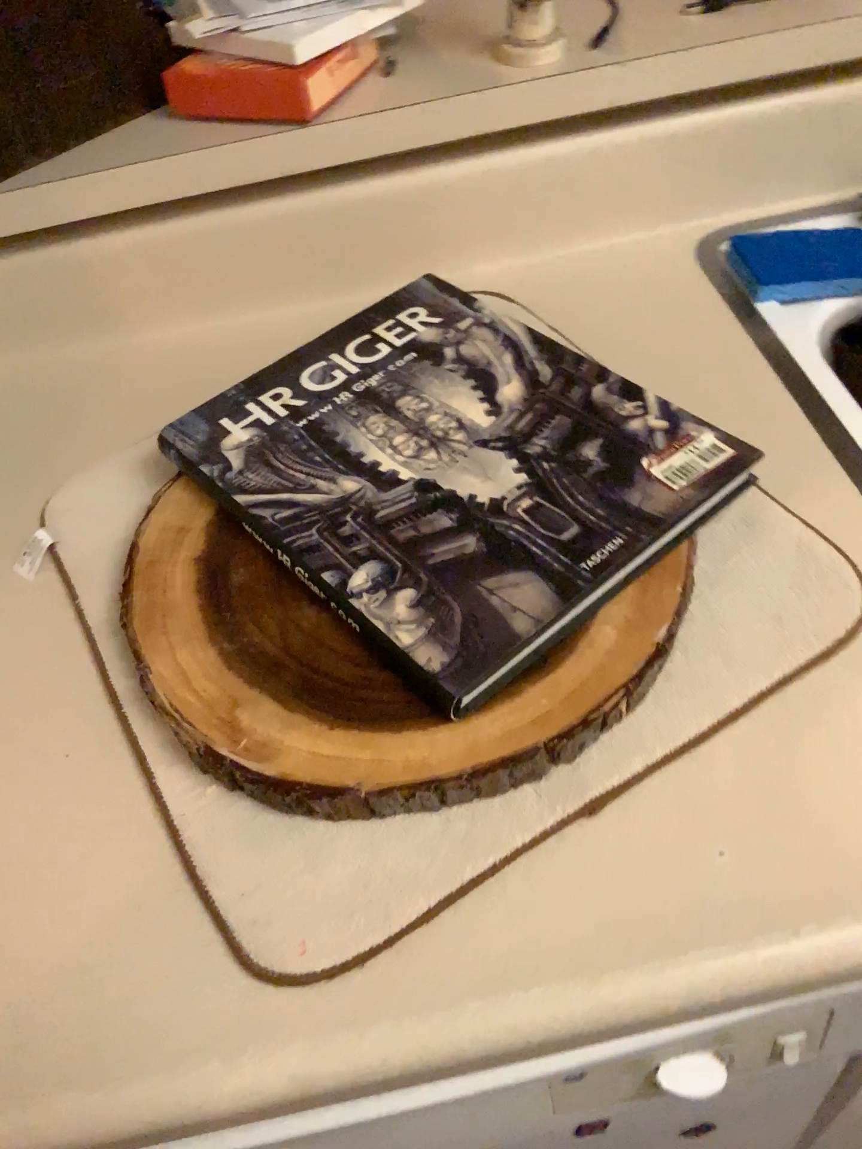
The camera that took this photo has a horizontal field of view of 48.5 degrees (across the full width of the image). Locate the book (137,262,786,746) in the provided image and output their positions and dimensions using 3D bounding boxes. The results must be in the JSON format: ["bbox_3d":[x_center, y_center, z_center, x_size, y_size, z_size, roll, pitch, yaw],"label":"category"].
[{"bbox_3d":[0.007,-0.080,0.631,0.270,0.030,0.330,-37,53,-22],"label":"book"}]
